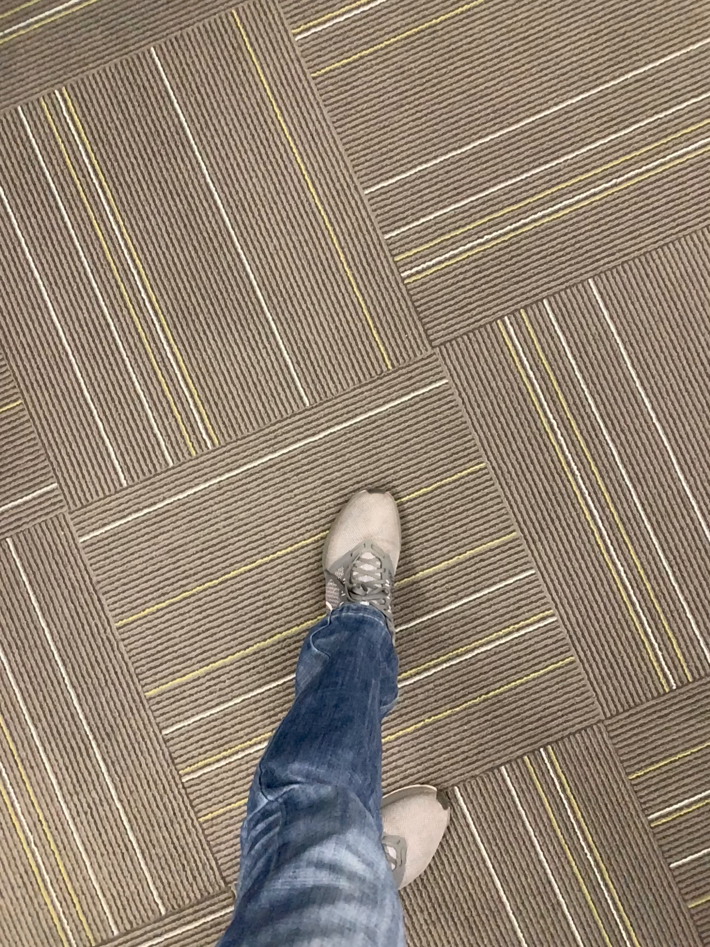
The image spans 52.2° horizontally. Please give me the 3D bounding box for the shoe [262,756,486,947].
[{"bbox_3d":[0.028,0.577,1.072,0.299,0.093,0.128,-37,87,0],"label":"shoe"}]

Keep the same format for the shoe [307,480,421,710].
[{"bbox_3d":[0.014,0.174,1.077,0.131,0.093,0.313,6,88,2],"label":"shoe"}]
